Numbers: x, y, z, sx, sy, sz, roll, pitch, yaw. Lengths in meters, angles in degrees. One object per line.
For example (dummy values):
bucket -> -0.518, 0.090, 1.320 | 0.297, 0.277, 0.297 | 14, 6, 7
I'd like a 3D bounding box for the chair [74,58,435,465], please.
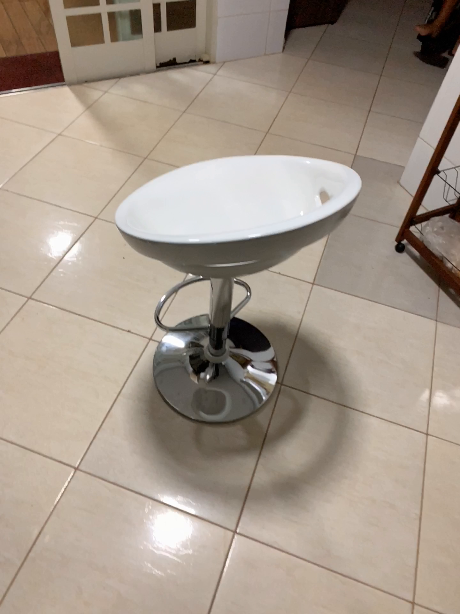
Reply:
chair -> -0.003, -0.070, 1.091 | 0.471, 0.734, 0.452 | -18, 54, -19
